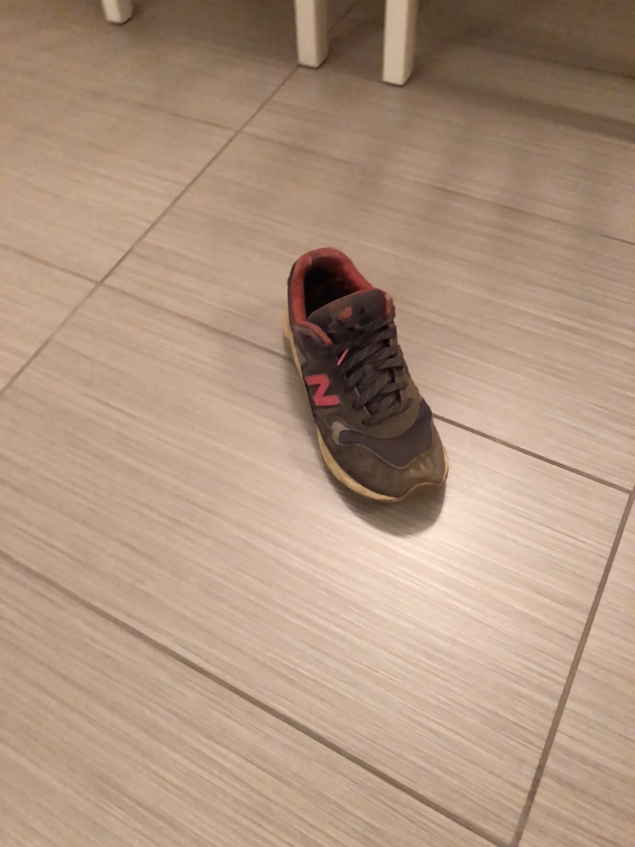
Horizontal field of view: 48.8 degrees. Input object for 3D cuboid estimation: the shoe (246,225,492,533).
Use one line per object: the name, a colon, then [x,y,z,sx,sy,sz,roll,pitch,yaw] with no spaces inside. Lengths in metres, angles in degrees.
shoe: [0.036,-0.052,0.635,0.120,0.070,0.271,-19,57,-7]
